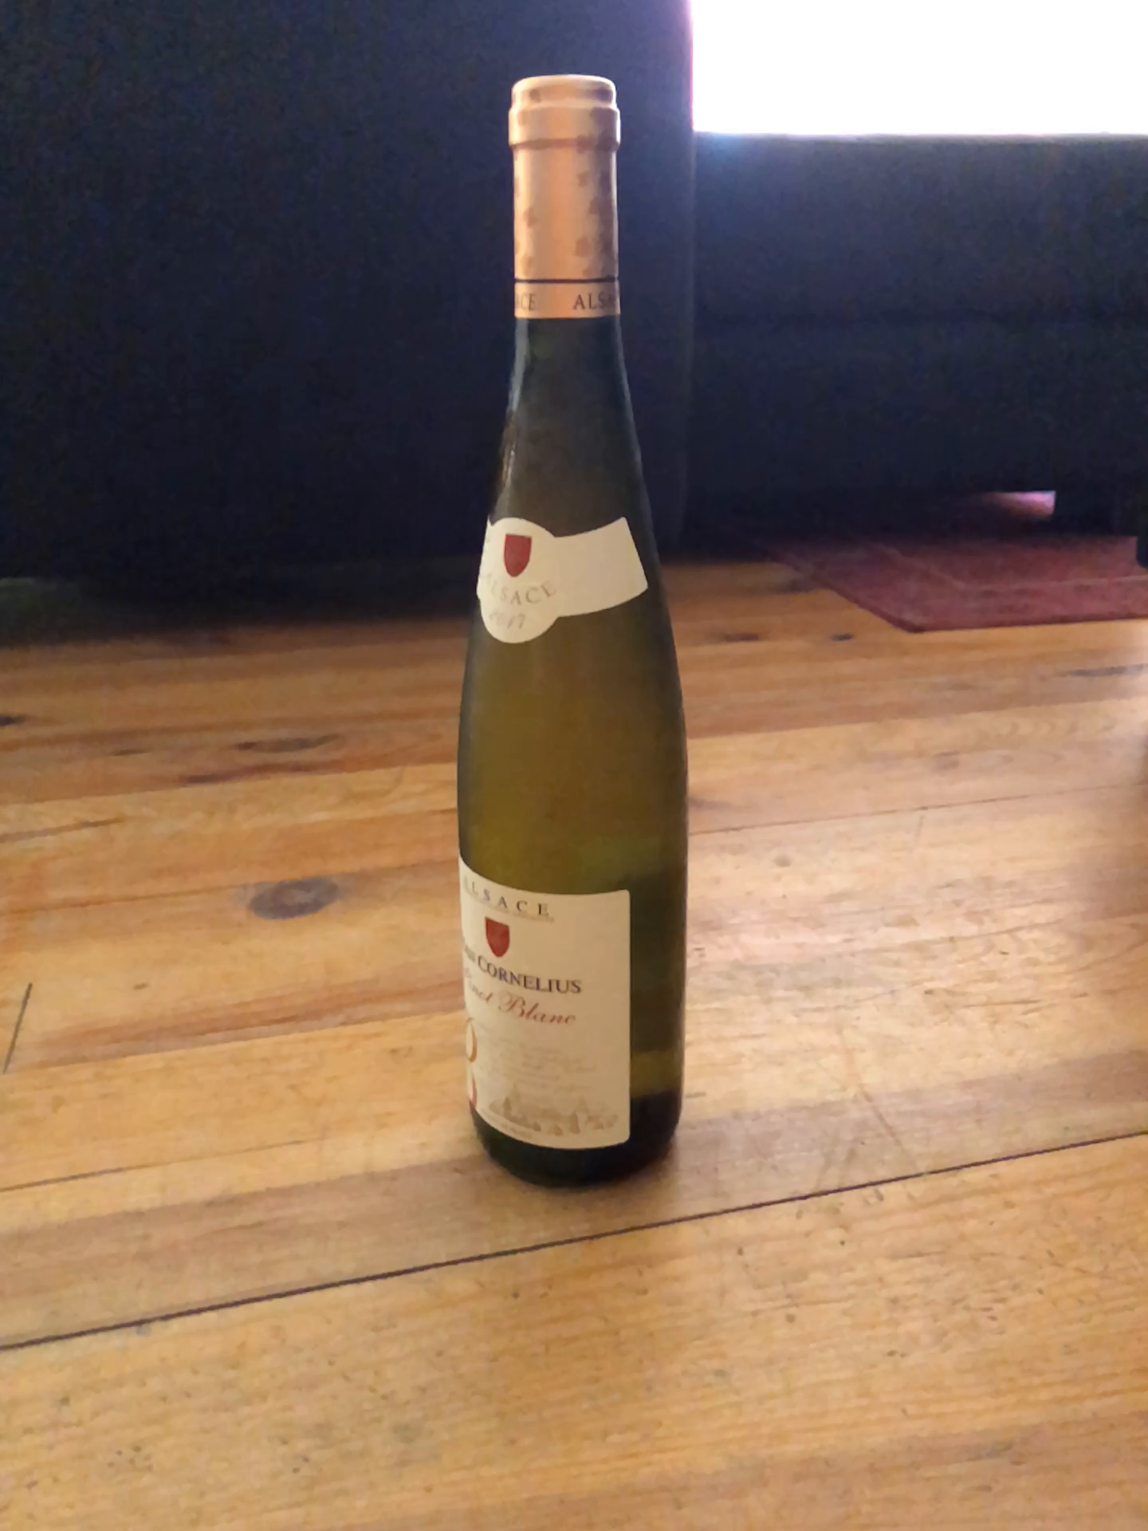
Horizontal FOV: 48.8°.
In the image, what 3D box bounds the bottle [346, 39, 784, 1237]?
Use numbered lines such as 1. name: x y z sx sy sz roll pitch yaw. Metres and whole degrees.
1. bottle: 0.000 -0.027 0.381 0.080 0.318 0.080 -1 20 0
